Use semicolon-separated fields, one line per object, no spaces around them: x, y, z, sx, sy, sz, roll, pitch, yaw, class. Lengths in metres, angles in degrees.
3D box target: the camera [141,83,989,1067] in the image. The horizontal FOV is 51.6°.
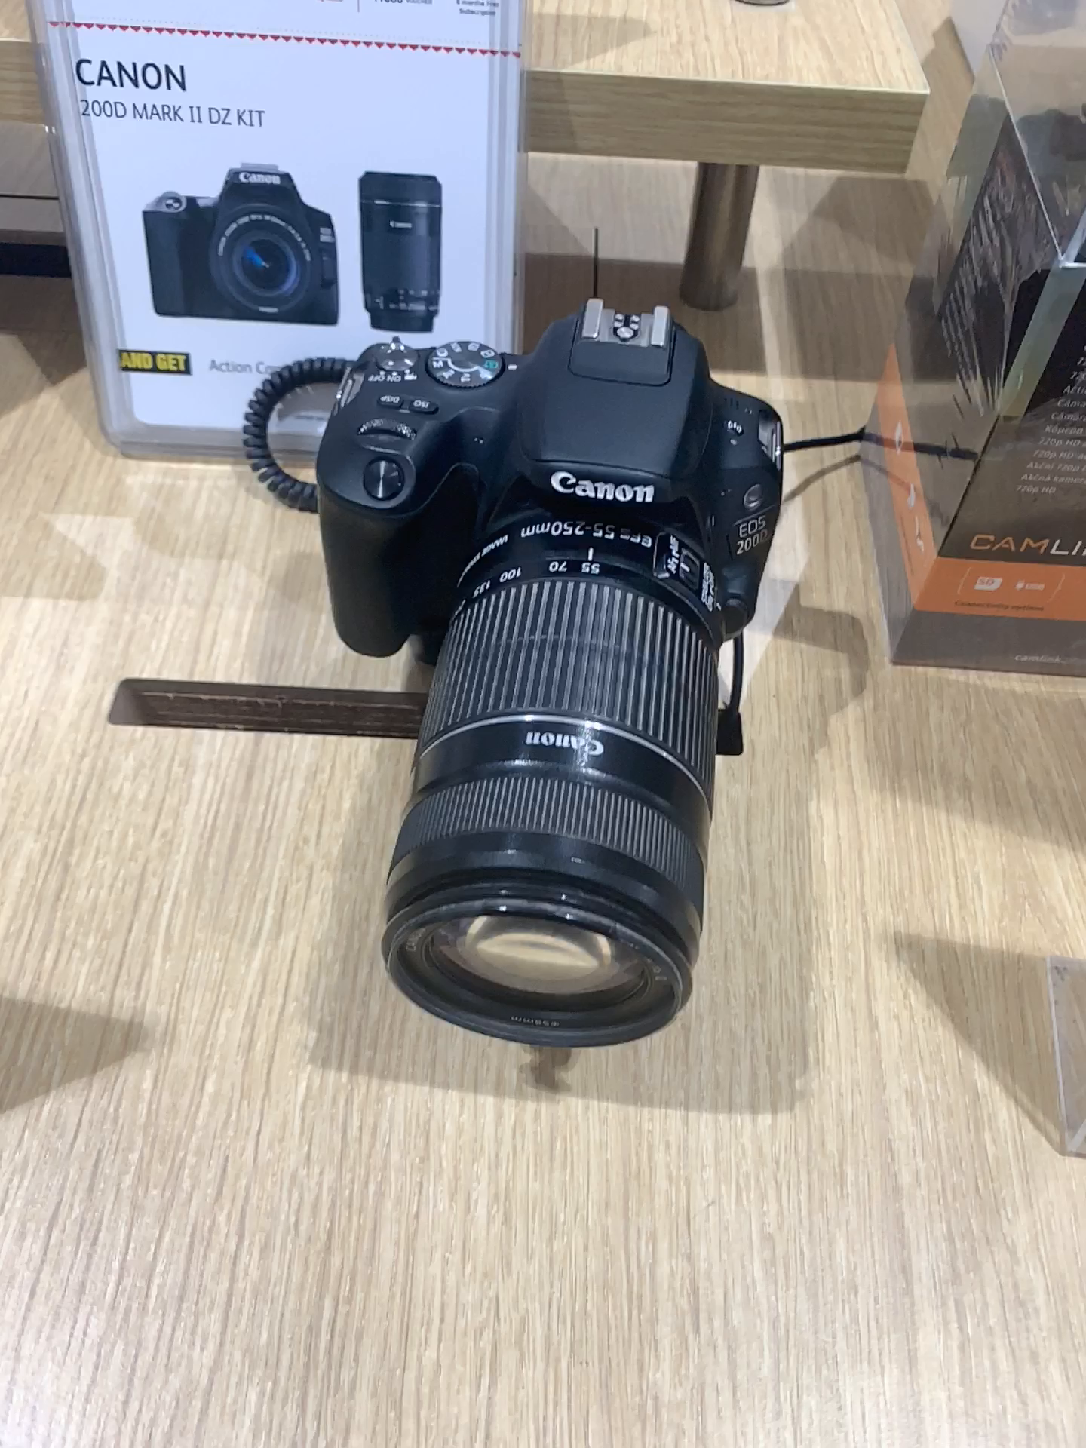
0.011;-0.044;0.258;0.120;0.100;0.200;6;54;2;camera
